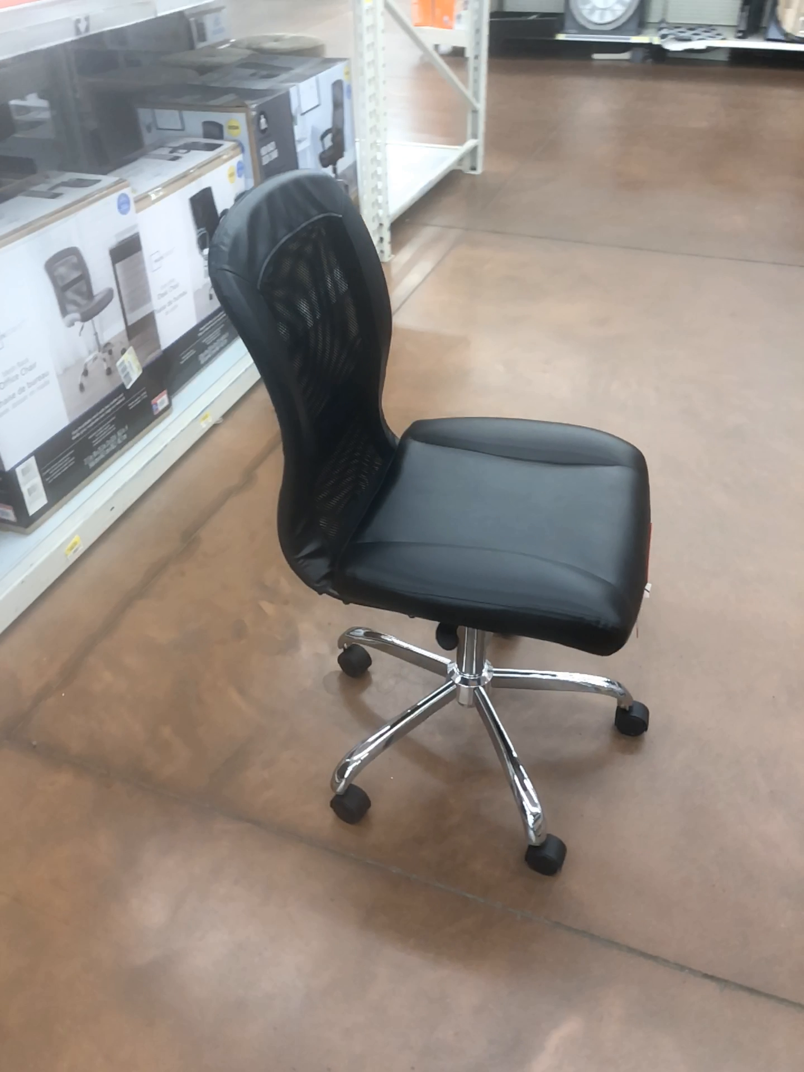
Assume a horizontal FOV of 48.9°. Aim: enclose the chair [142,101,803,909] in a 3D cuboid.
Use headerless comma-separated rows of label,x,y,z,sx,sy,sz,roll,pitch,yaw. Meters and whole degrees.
chair,0.175,-0.086,1.263,0.650,0.817,0.683,10,39,15
